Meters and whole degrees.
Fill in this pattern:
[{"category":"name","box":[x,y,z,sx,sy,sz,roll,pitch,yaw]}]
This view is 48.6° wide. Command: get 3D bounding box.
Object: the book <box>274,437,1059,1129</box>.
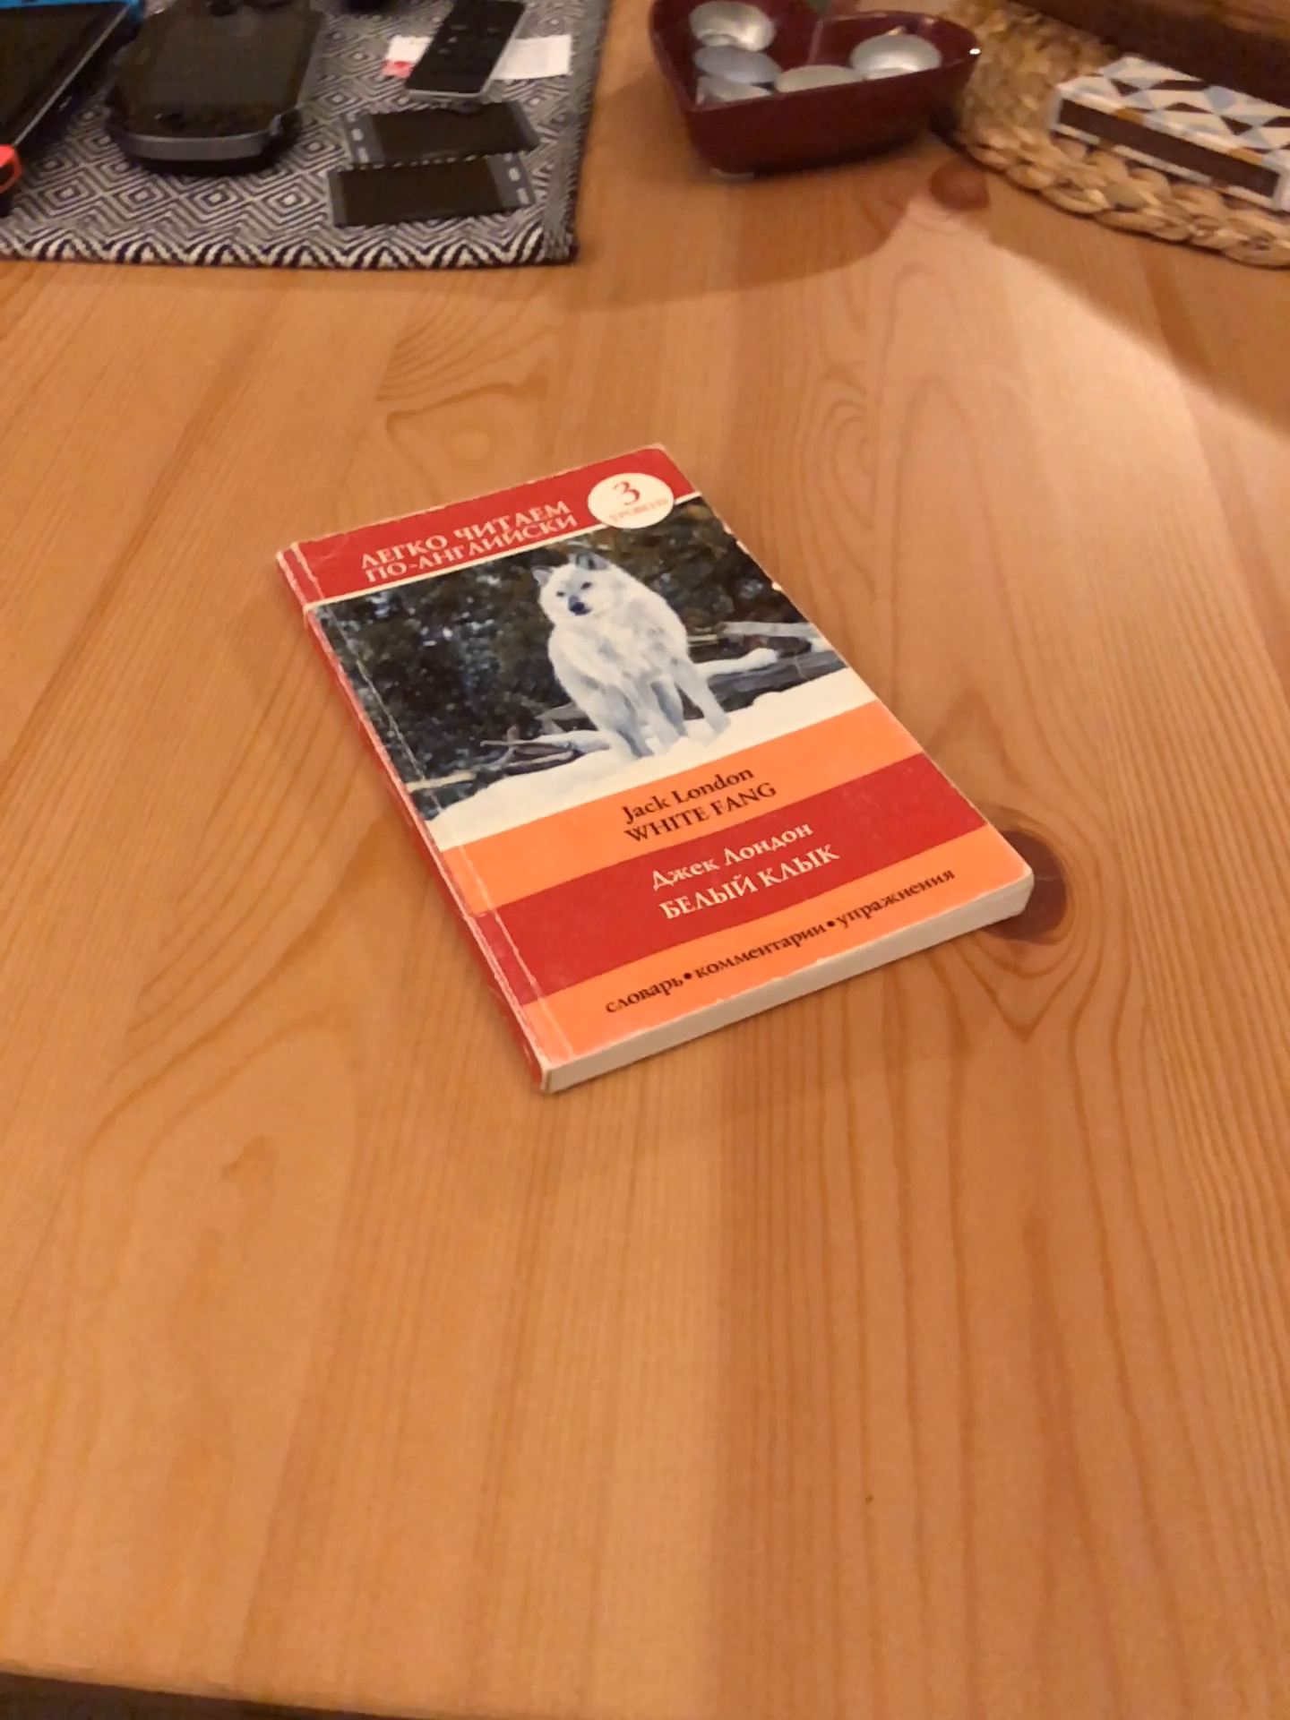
[{"category":"book","box":[-0.006,-0.038,0.384,0.129,0.020,0.205,-20,52,-17]}]
